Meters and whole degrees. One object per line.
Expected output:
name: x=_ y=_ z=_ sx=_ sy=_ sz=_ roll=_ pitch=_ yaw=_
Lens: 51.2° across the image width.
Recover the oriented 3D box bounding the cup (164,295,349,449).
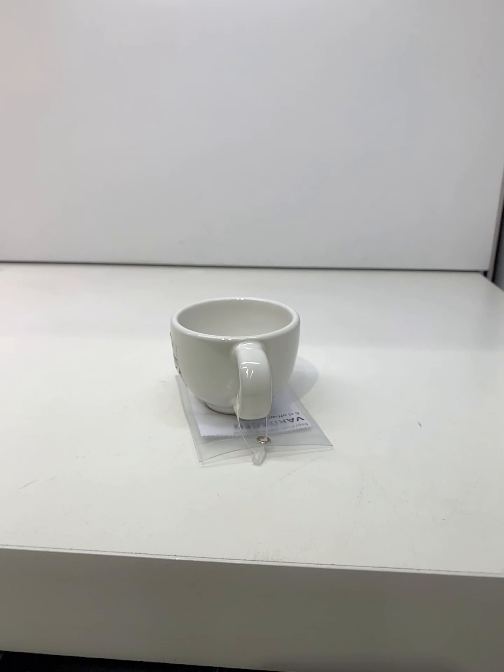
cup: x=-0.003 y=0.012 z=0.251 sx=0.070 sy=0.040 sz=0.080 roll=-4 pitch=20 yaw=-12
